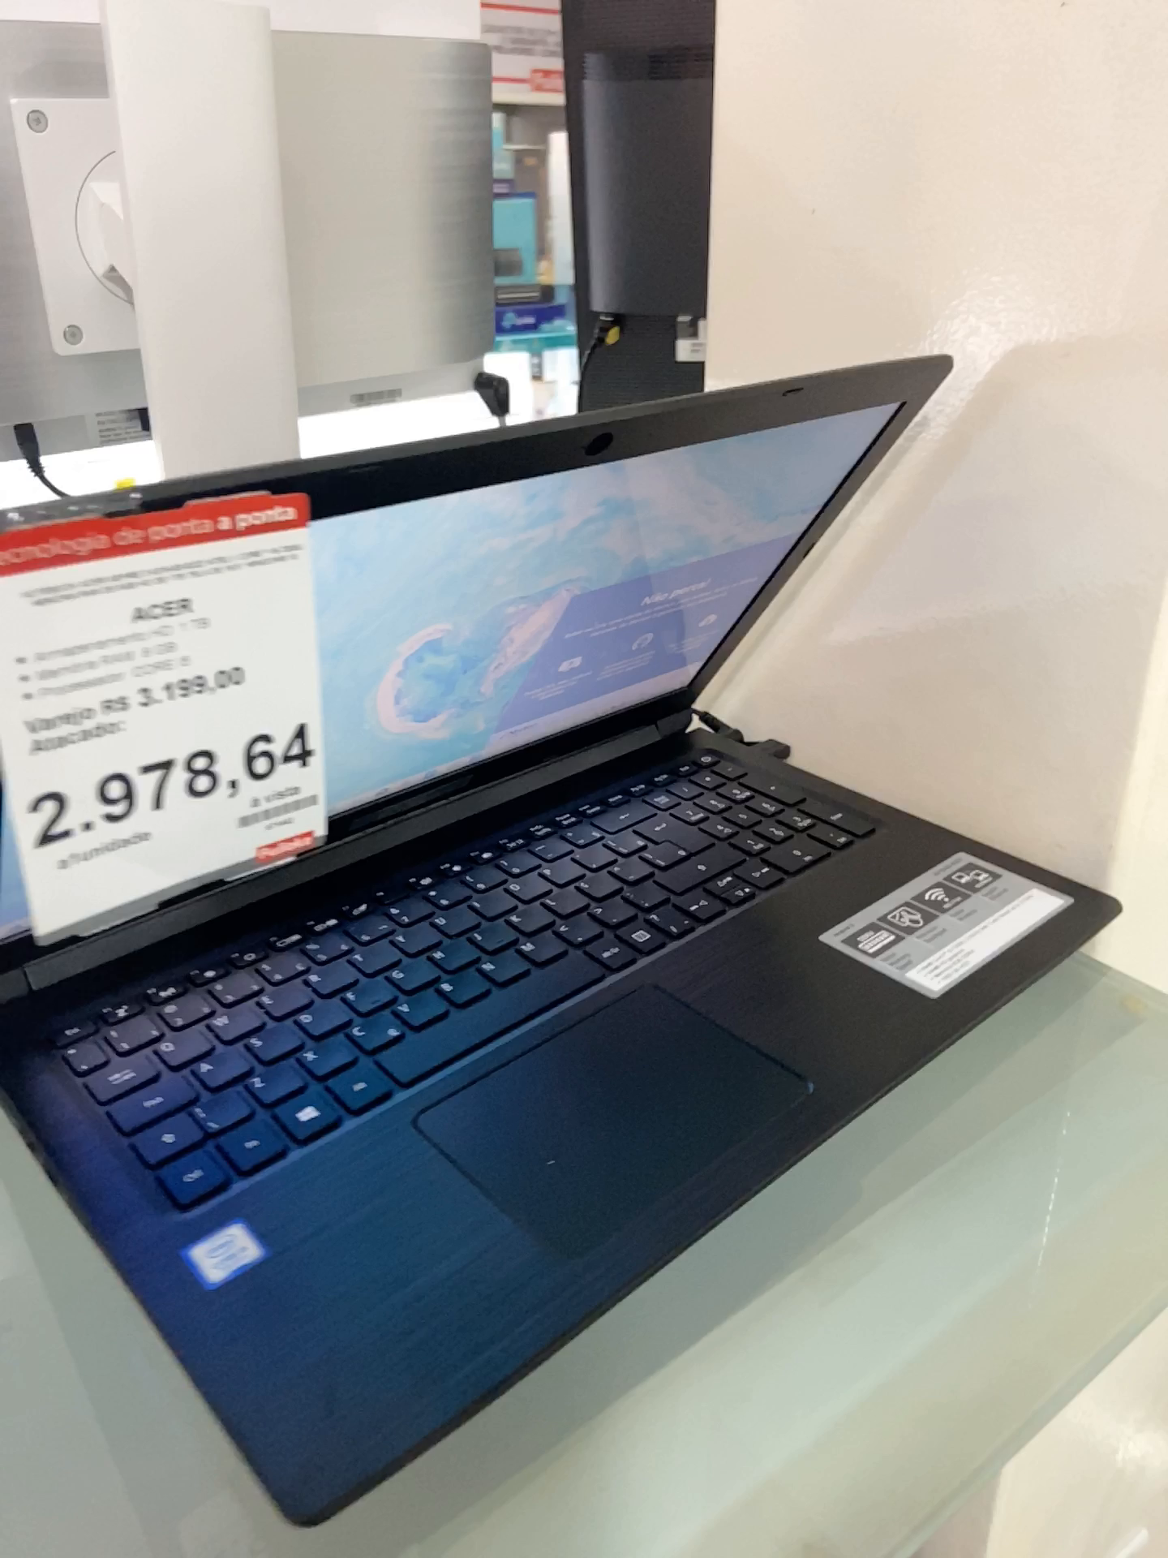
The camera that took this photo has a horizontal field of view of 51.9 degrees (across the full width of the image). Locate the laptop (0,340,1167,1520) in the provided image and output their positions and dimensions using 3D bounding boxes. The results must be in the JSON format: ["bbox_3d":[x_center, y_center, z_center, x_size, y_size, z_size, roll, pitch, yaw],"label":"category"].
[{"bbox_3d":[-0.003,-0.020,0.409,0.368,0.193,0.234,-22,33,-36],"label":"laptop"}]
